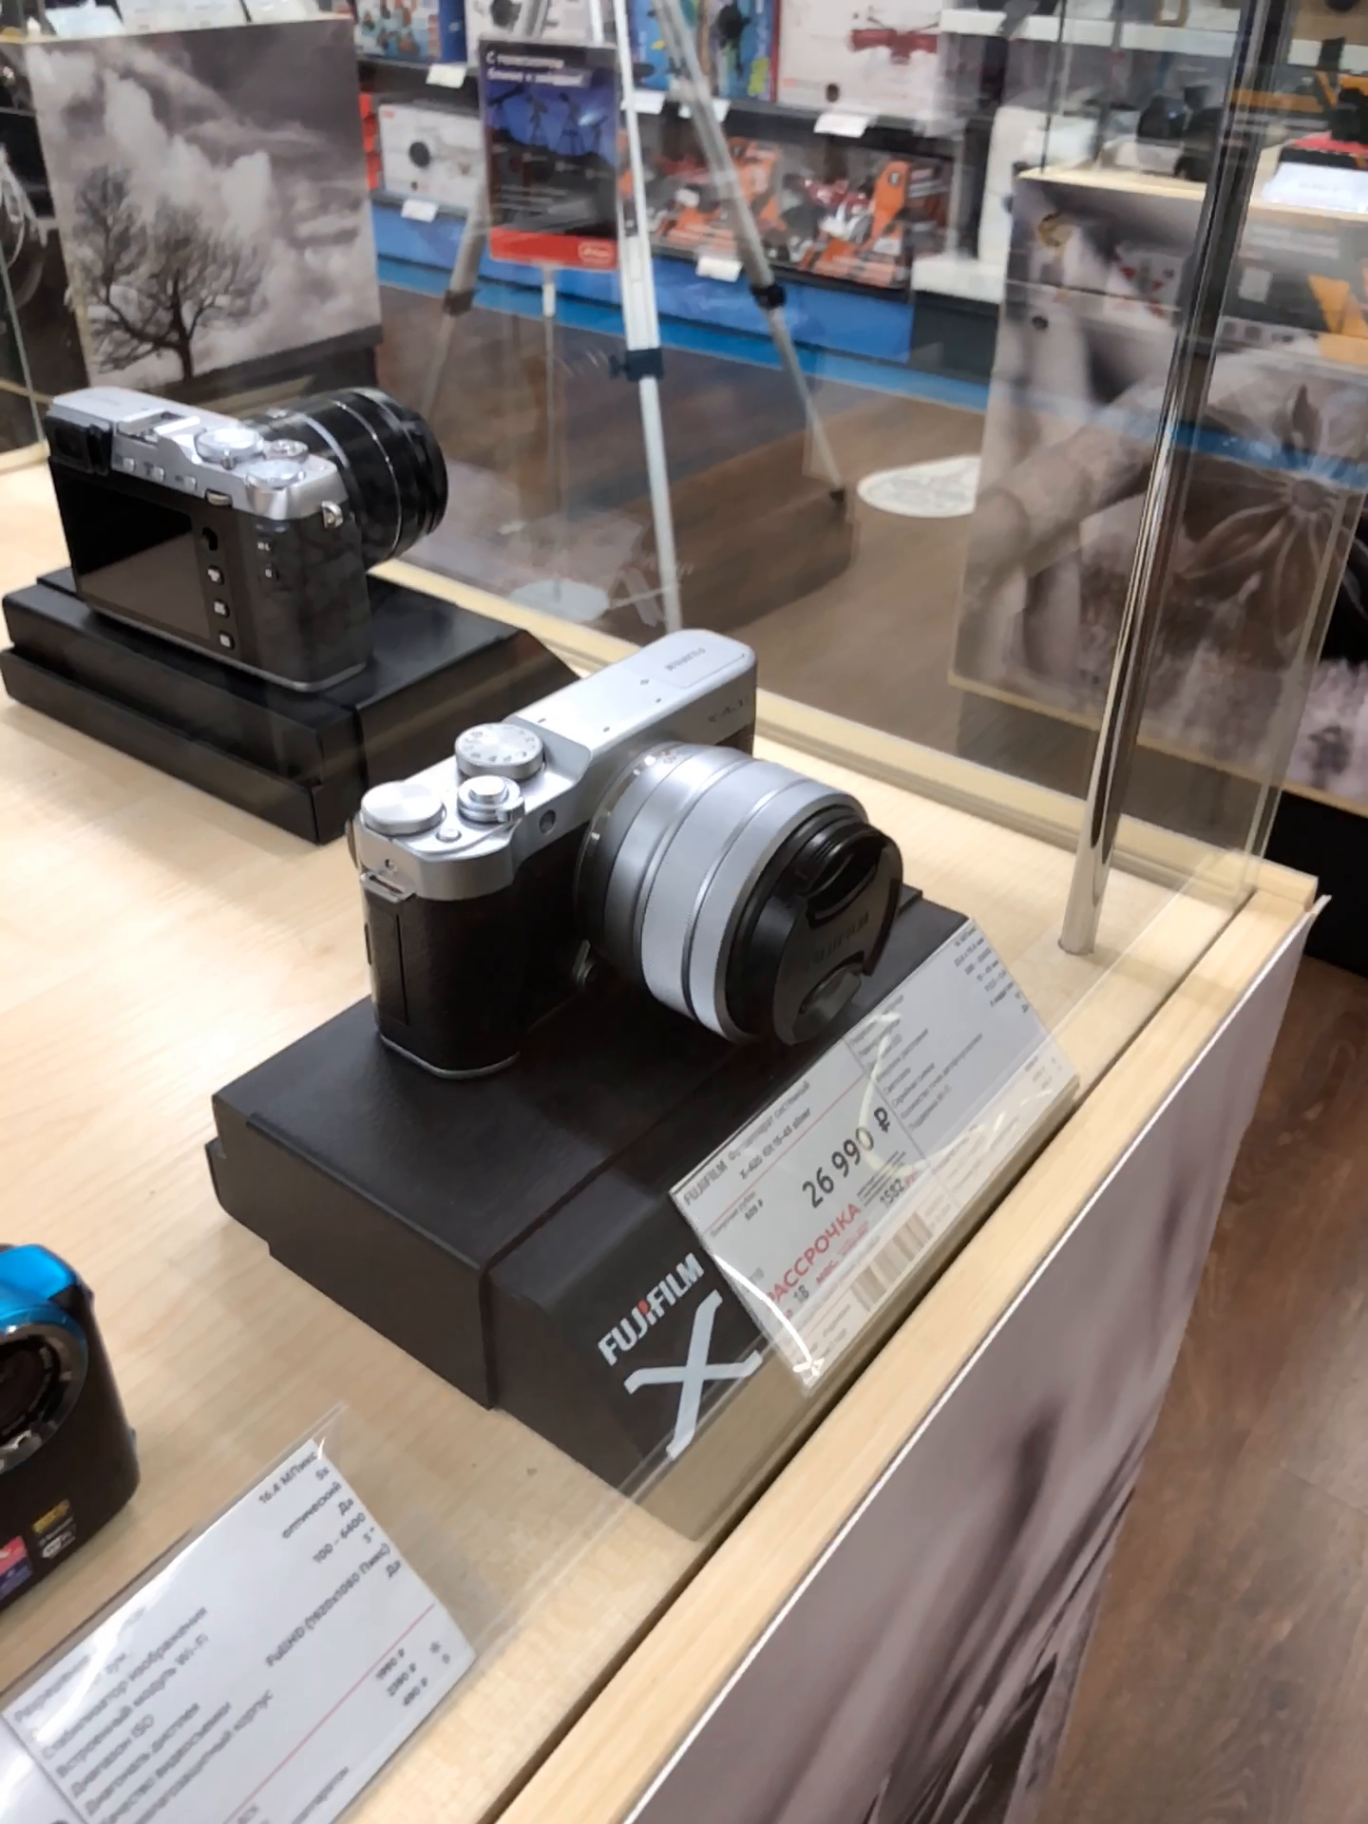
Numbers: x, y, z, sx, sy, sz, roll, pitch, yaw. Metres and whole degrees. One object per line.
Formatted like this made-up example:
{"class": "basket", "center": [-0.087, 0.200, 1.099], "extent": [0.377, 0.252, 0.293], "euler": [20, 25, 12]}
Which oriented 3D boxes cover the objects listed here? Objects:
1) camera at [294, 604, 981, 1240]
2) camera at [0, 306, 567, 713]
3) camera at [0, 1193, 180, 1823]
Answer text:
{"class": "camera", "center": [-0.007, -0.007, 0.343], "extent": [0.093, 0.070, 0.120], "euler": [24, 40, 29]}
{"class": "camera", "center": [-0.158, -0.156, 0.554], "extent": [0.187, 0.074, 0.130], "euler": [23, 40, 28]}
{"class": "camera", "center": [-0.141, 0.105, 0.251], "extent": [0.025, 0.064, 0.106], "euler": [24, 40, 30]}
